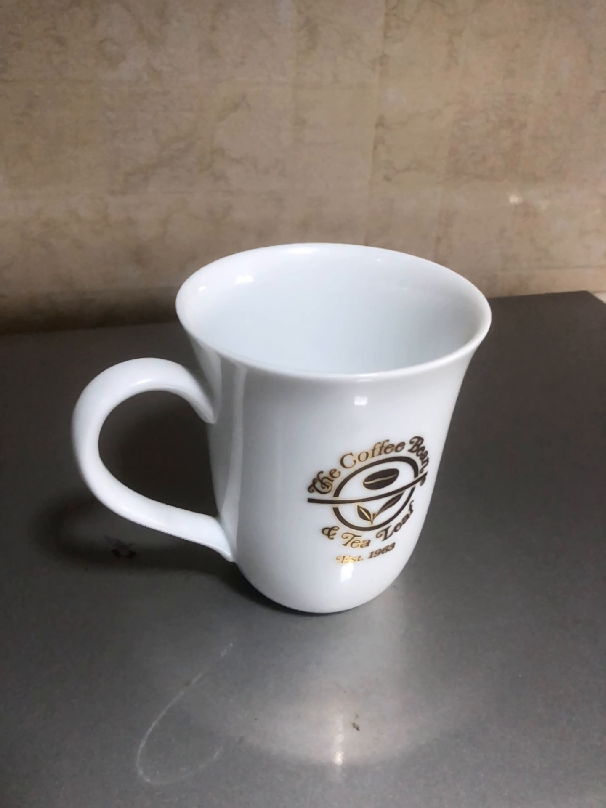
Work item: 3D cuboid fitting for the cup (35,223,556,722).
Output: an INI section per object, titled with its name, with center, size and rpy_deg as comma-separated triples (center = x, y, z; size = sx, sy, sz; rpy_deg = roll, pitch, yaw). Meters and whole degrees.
[cup]
center = -0.008, 0.012, 0.232
size = 0.130, 0.109, 0.091
rpy_deg = -13, 36, -23
